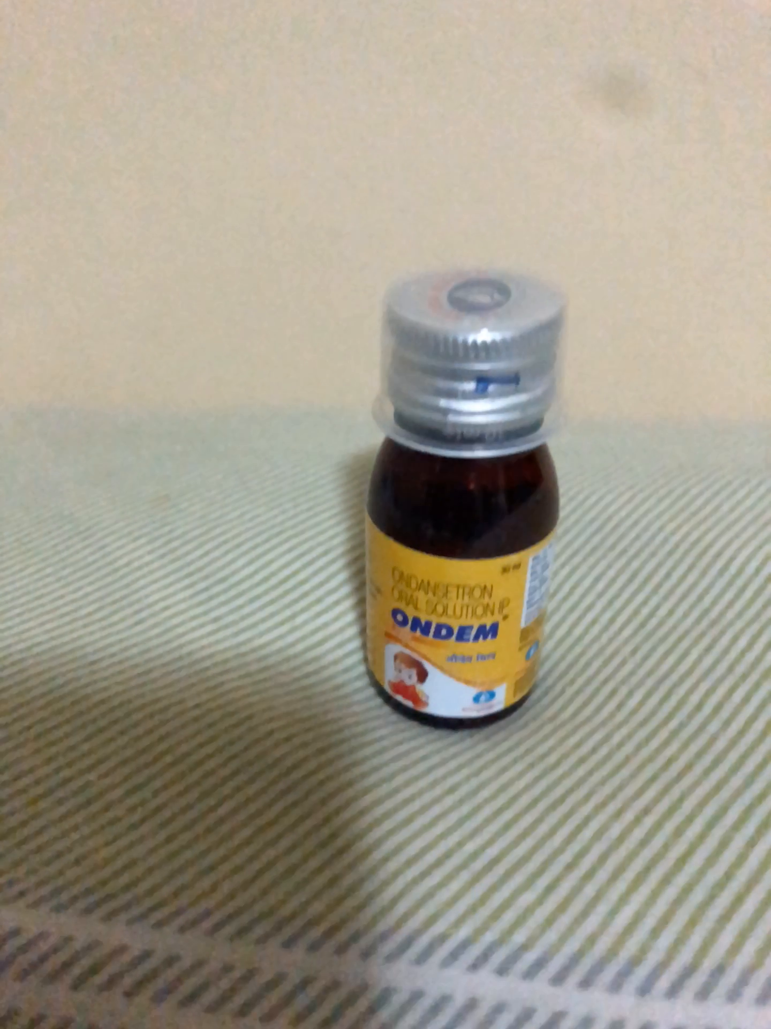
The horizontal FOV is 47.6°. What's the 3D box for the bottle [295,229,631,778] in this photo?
[{"bbox_3d":[0.013,-0.002,0.152,0.040,0.080,0.040,0,34,0],"label":"bottle"}]
